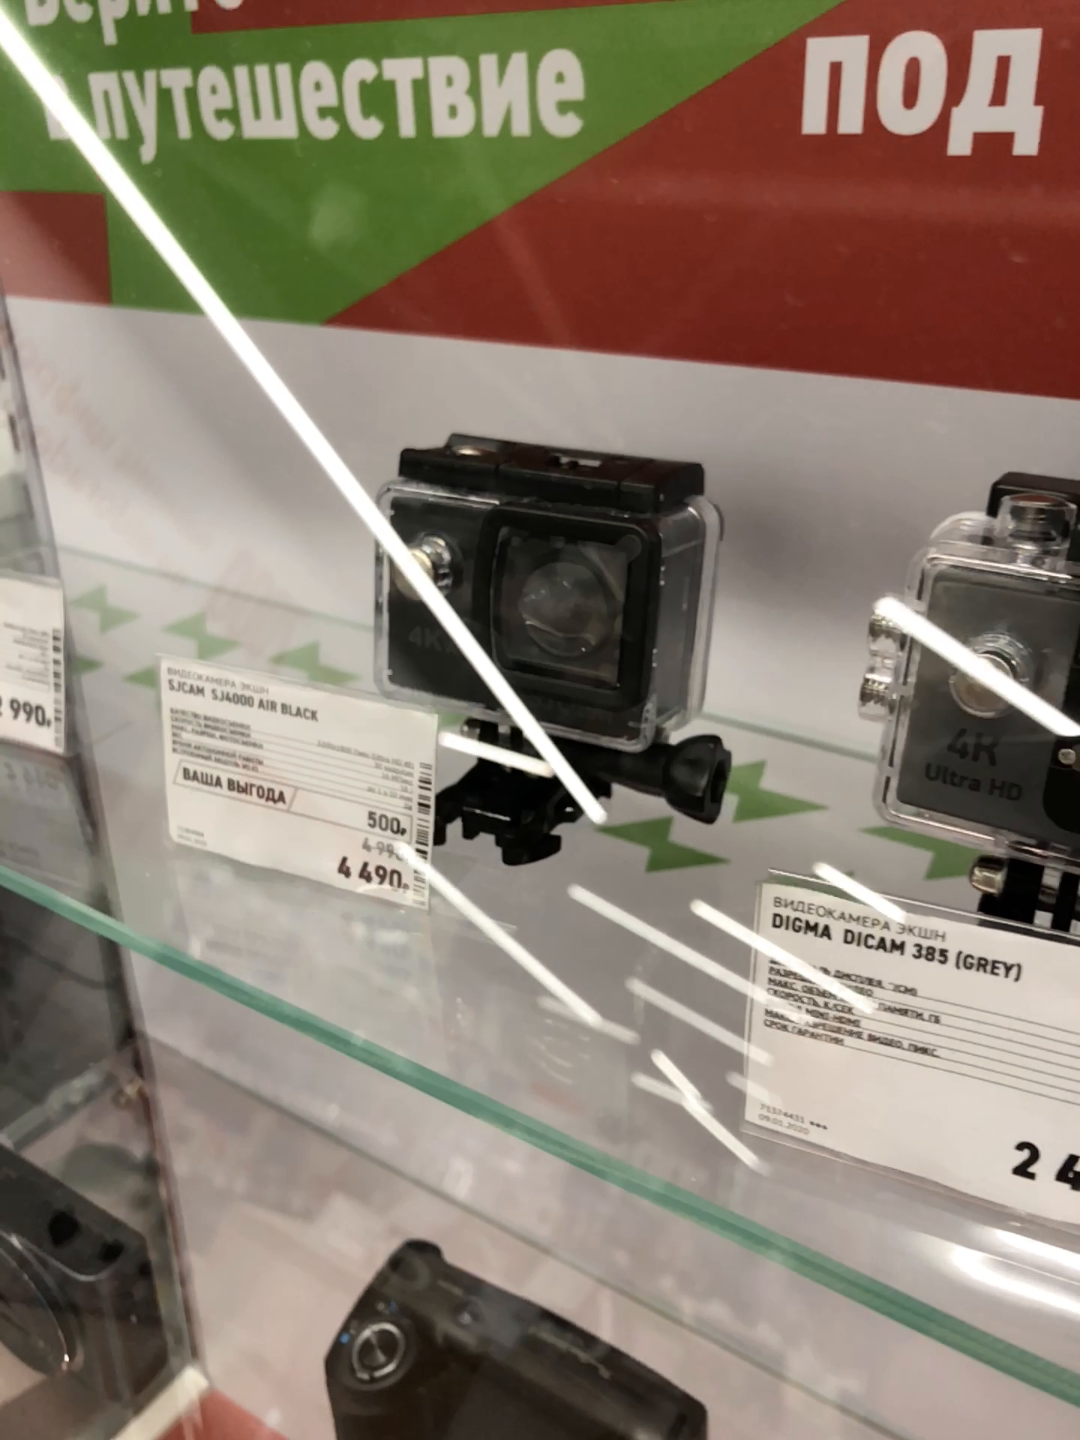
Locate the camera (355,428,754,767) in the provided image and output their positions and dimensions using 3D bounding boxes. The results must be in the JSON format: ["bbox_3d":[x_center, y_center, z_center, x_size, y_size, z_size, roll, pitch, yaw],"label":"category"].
[{"bbox_3d":[0.001,-0.028,0.254,0.074,0.055,0.033,11,20,24],"label":"camera"}]
